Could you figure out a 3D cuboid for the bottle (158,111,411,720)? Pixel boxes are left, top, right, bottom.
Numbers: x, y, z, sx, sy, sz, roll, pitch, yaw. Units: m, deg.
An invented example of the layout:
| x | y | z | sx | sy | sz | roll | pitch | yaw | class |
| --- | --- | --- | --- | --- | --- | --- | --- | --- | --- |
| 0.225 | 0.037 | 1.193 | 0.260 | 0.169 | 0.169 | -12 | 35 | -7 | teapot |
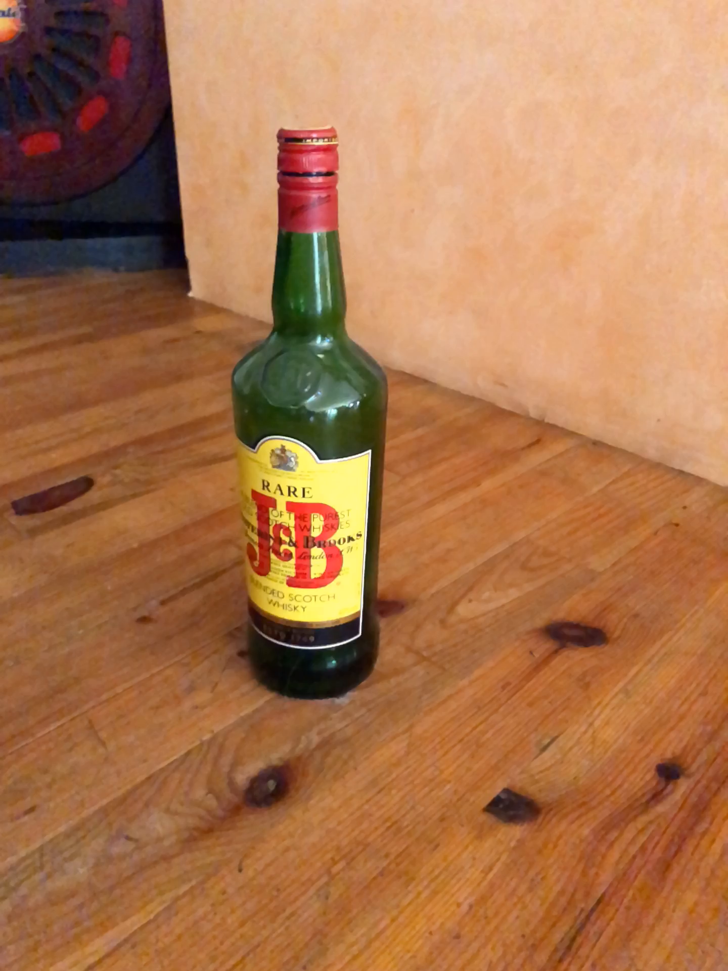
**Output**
| x | y | z | sx | sy | sz | roll | pitch | yaw | class |
| --- | --- | --- | --- | --- | --- | --- | --- | --- | --- |
| -0.035 | -0.029 | 0.444 | 0.090 | 0.318 | 0.081 | 11 | 30 | 18 | bottle |
